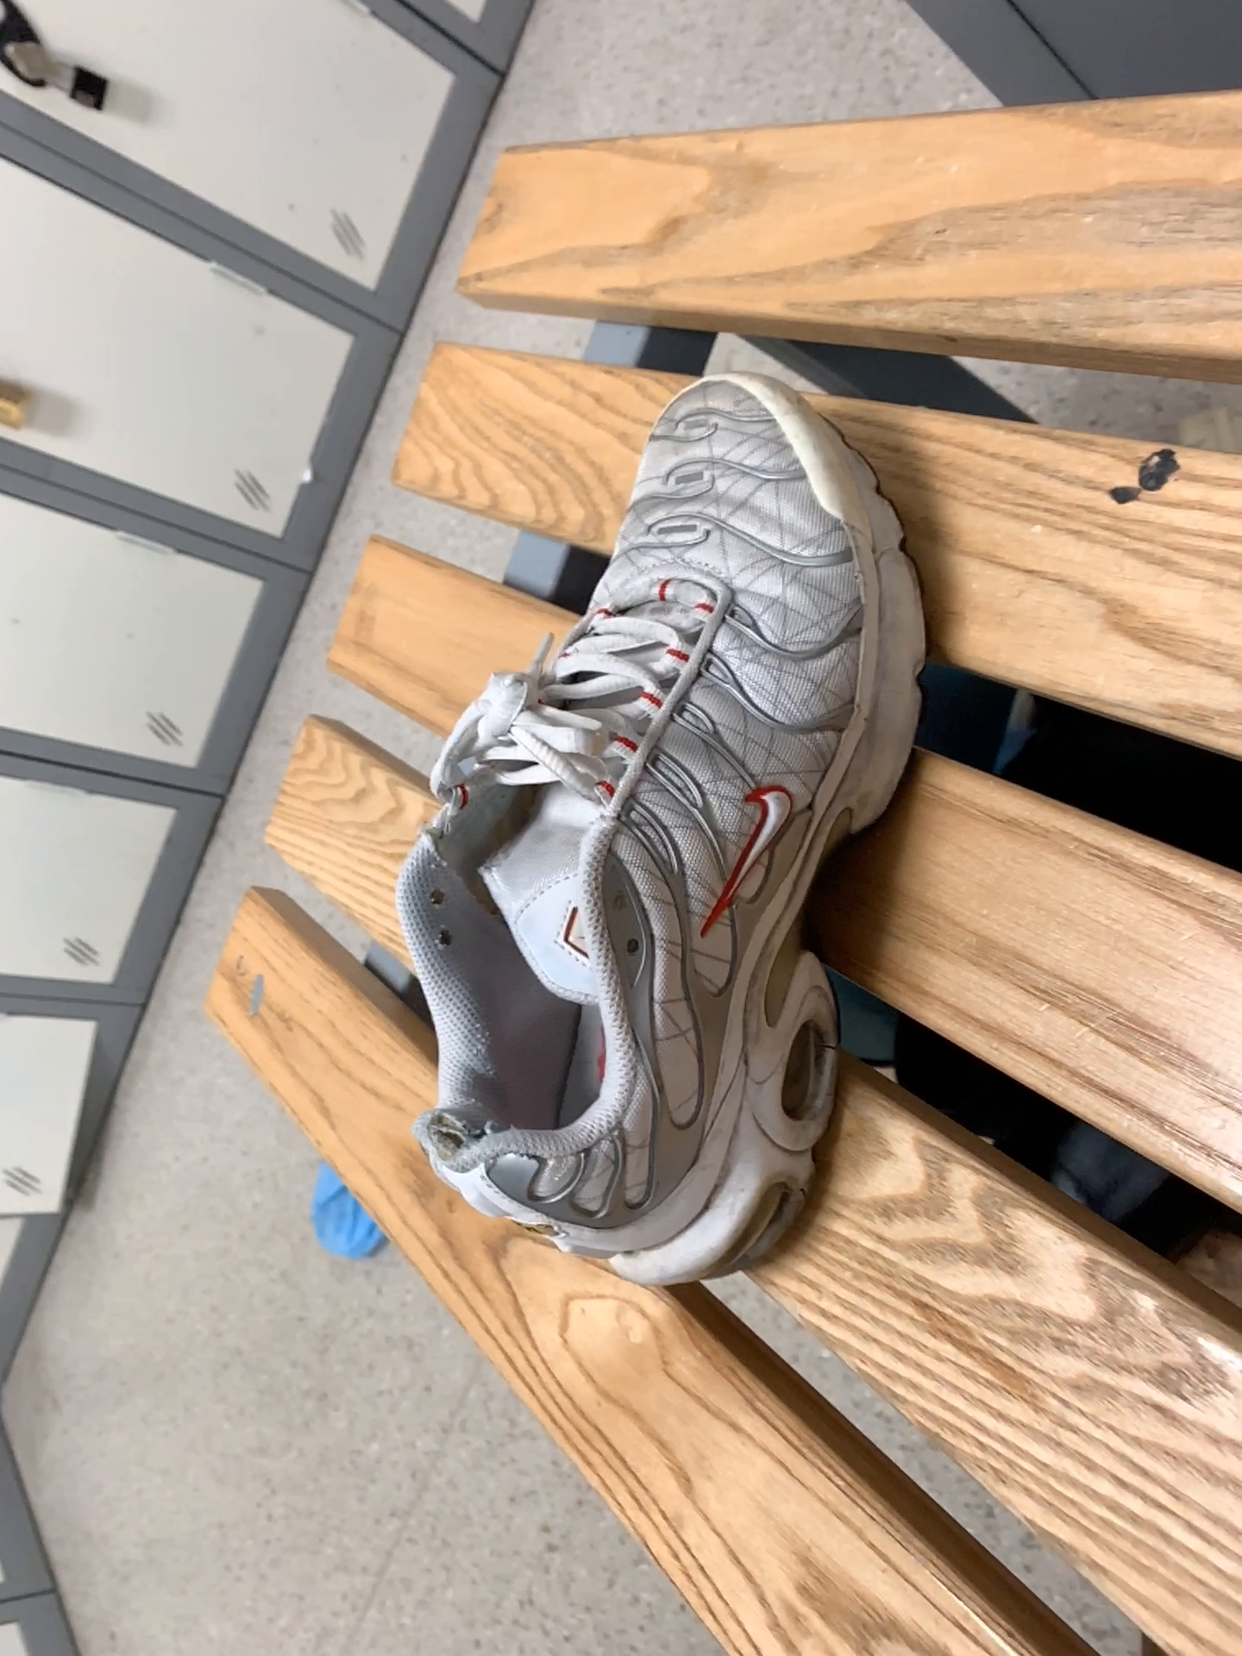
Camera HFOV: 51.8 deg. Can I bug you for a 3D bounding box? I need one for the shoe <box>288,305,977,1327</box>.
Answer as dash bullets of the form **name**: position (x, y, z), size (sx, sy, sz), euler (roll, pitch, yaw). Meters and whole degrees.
- **shoe**: position (0.004, 0.000, 0.349), size (0.101, 0.105, 0.226), euler (8, 85, 48)
